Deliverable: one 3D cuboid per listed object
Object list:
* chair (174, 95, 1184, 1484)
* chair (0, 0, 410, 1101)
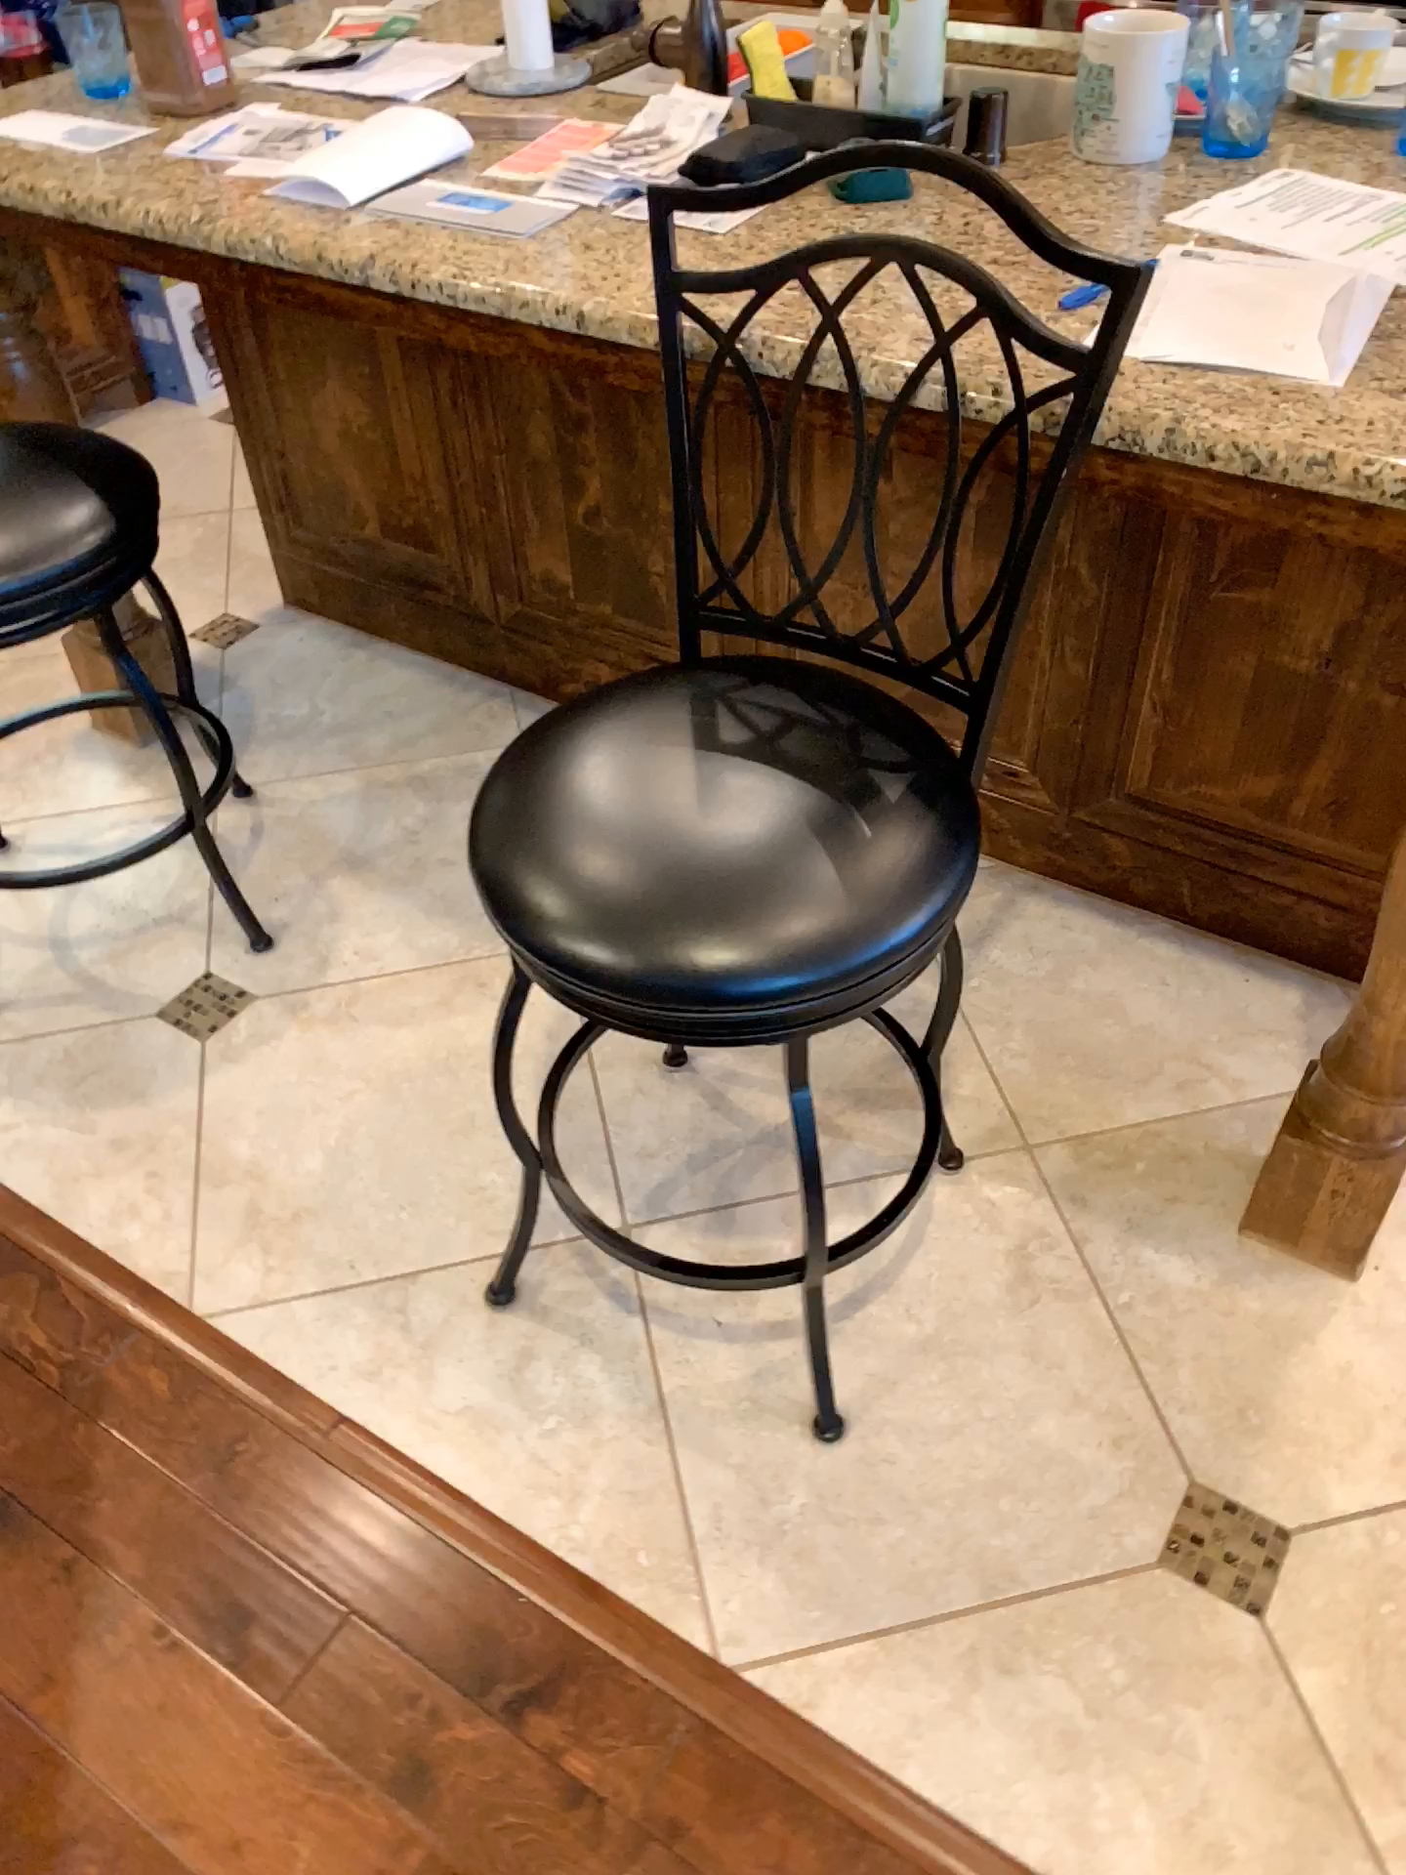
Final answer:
[{"bbox_3d":[0.030,-0.076,1.290,0.468,1.068,0.506,20,48,22],"label":"chair"},{"bbox_3d":[-0.852,-0.470,1.685,0.556,1.098,0.589,25,50,26],"label":"chair"}]
